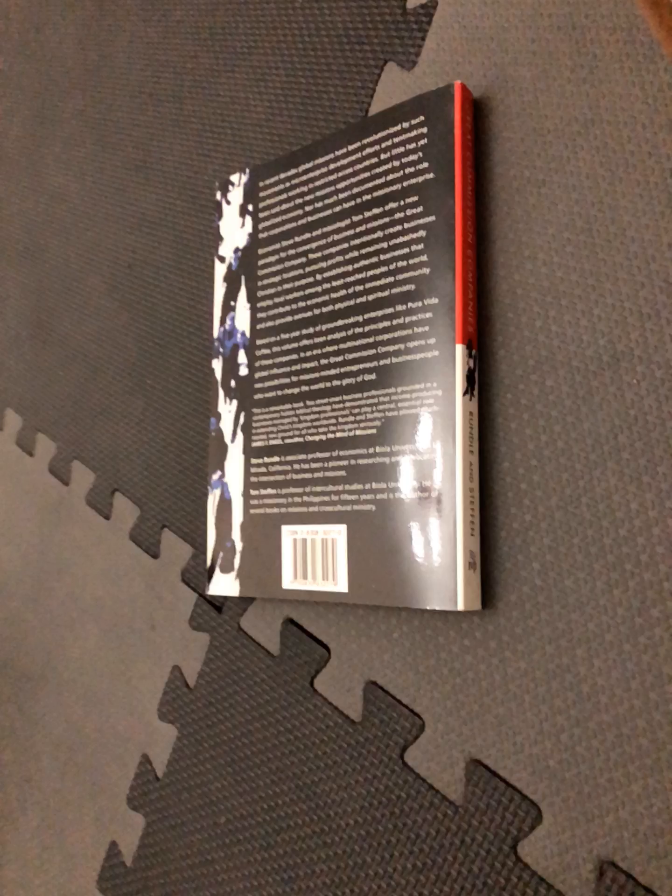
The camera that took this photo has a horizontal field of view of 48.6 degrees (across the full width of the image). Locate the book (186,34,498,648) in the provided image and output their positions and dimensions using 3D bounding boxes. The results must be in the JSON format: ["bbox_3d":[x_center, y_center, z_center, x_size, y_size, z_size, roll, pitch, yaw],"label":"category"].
[{"bbox_3d":[-0.003,-0.039,0.324,0.150,0.020,0.230,-6,78,40],"label":"book"}]

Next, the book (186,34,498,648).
[{"bbox_3d":[-0.003,-0.039,0.324,0.150,0.020,0.230,-6,78,40],"label":"book"}]
